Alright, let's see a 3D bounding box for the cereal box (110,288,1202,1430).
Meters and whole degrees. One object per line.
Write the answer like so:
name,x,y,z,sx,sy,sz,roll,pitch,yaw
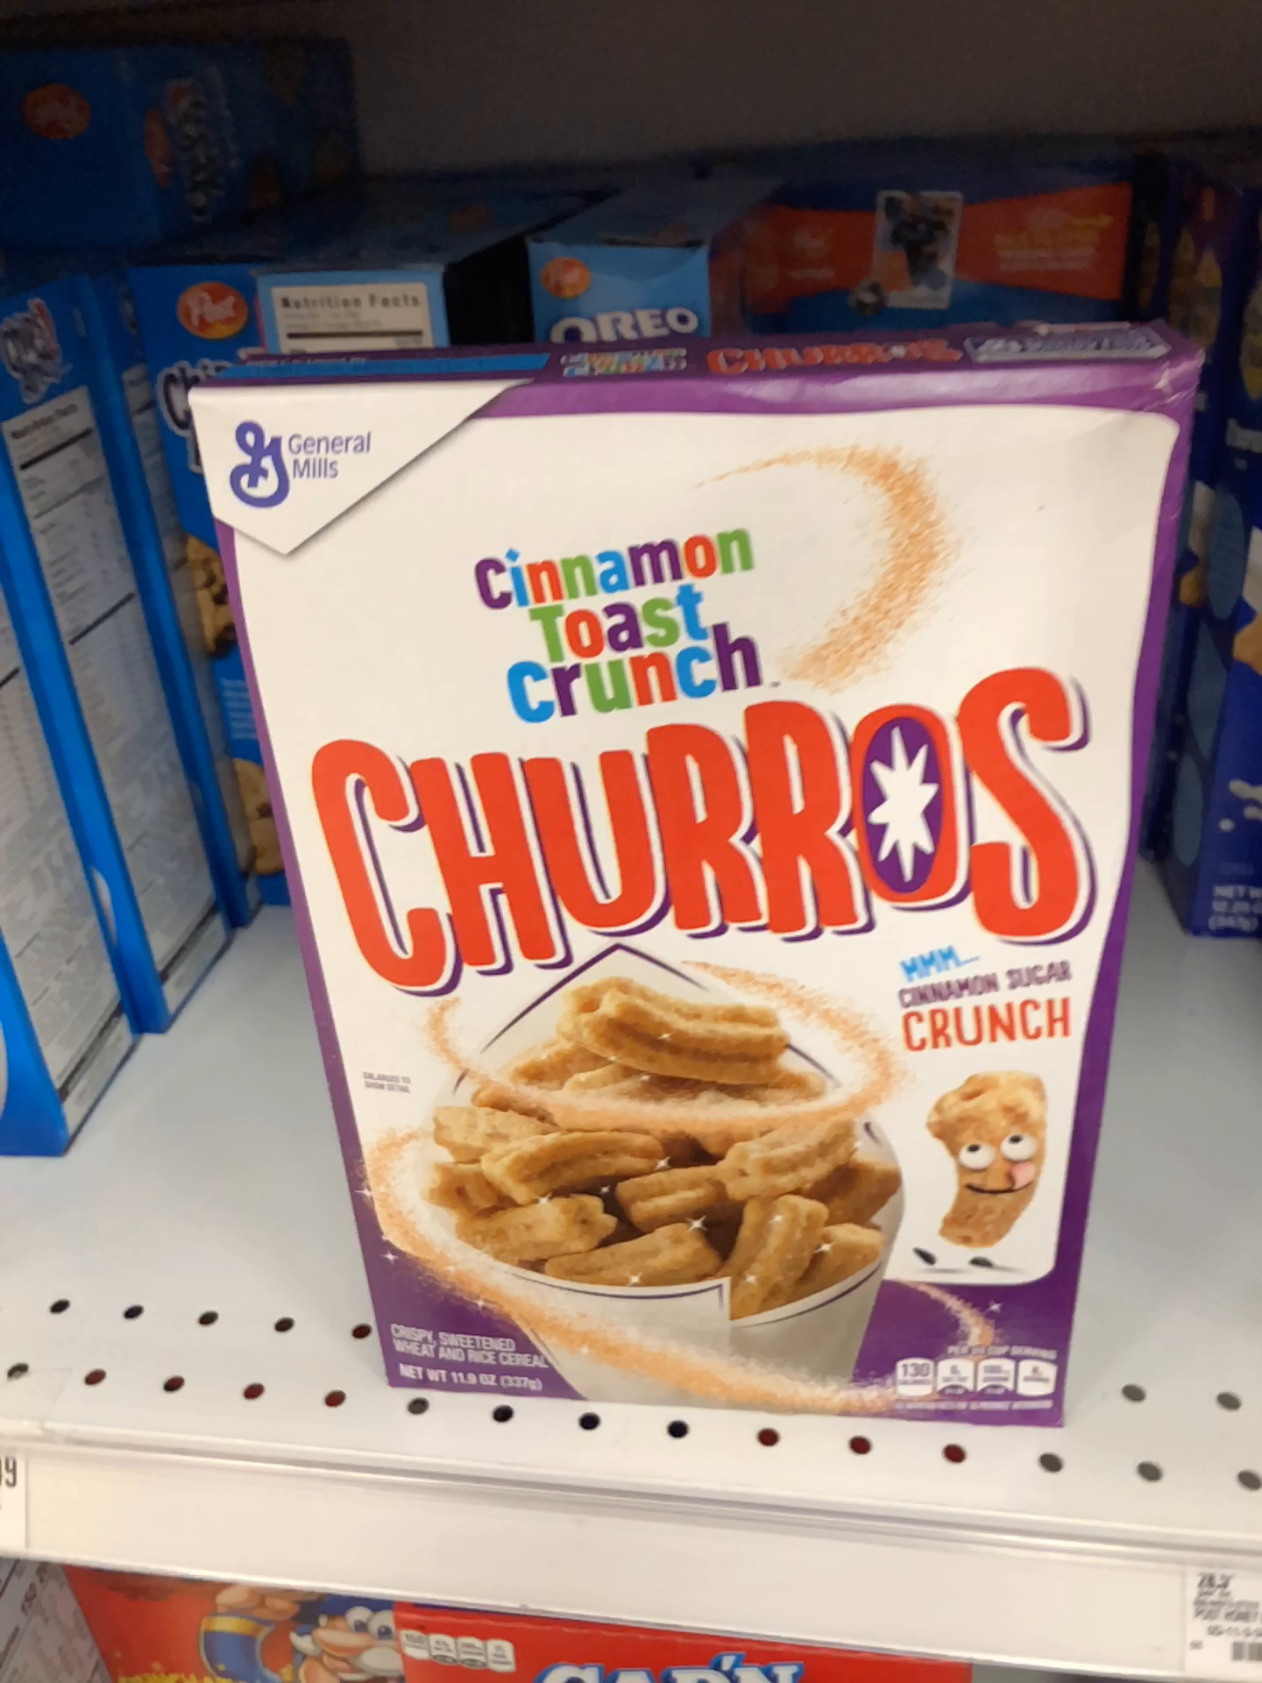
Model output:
cereal box,0.011,0.020,0.350,0.200,0.279,0.060,1,29,8
